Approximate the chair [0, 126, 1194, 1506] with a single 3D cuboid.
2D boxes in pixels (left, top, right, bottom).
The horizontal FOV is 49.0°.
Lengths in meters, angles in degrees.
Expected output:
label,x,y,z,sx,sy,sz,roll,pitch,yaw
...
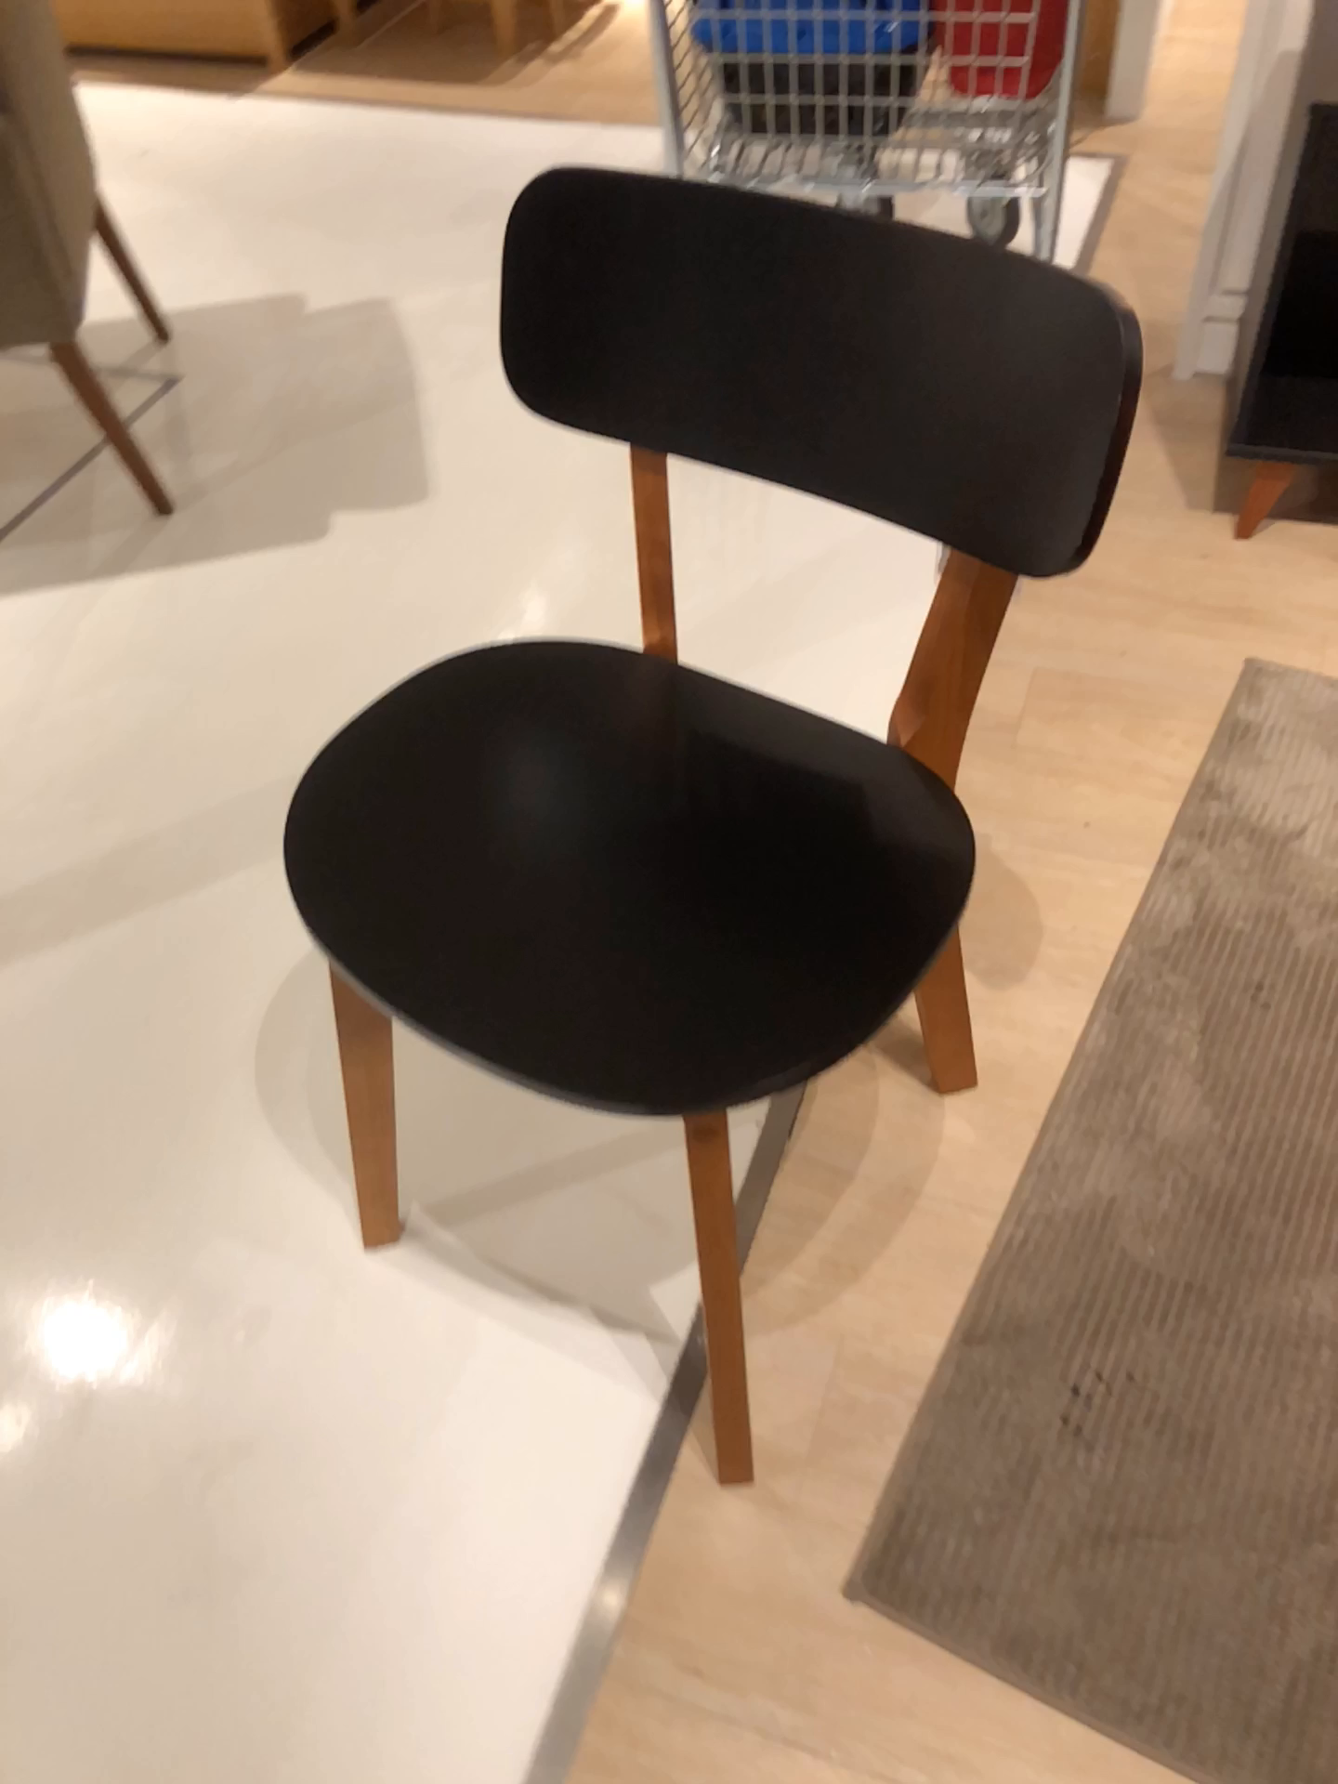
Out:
label,x,y,z,sx,sy,sz,roll,pitch,yaw
chair,-0.015,-0.038,1.019,0.461,0.705,0.482,23,53,24
